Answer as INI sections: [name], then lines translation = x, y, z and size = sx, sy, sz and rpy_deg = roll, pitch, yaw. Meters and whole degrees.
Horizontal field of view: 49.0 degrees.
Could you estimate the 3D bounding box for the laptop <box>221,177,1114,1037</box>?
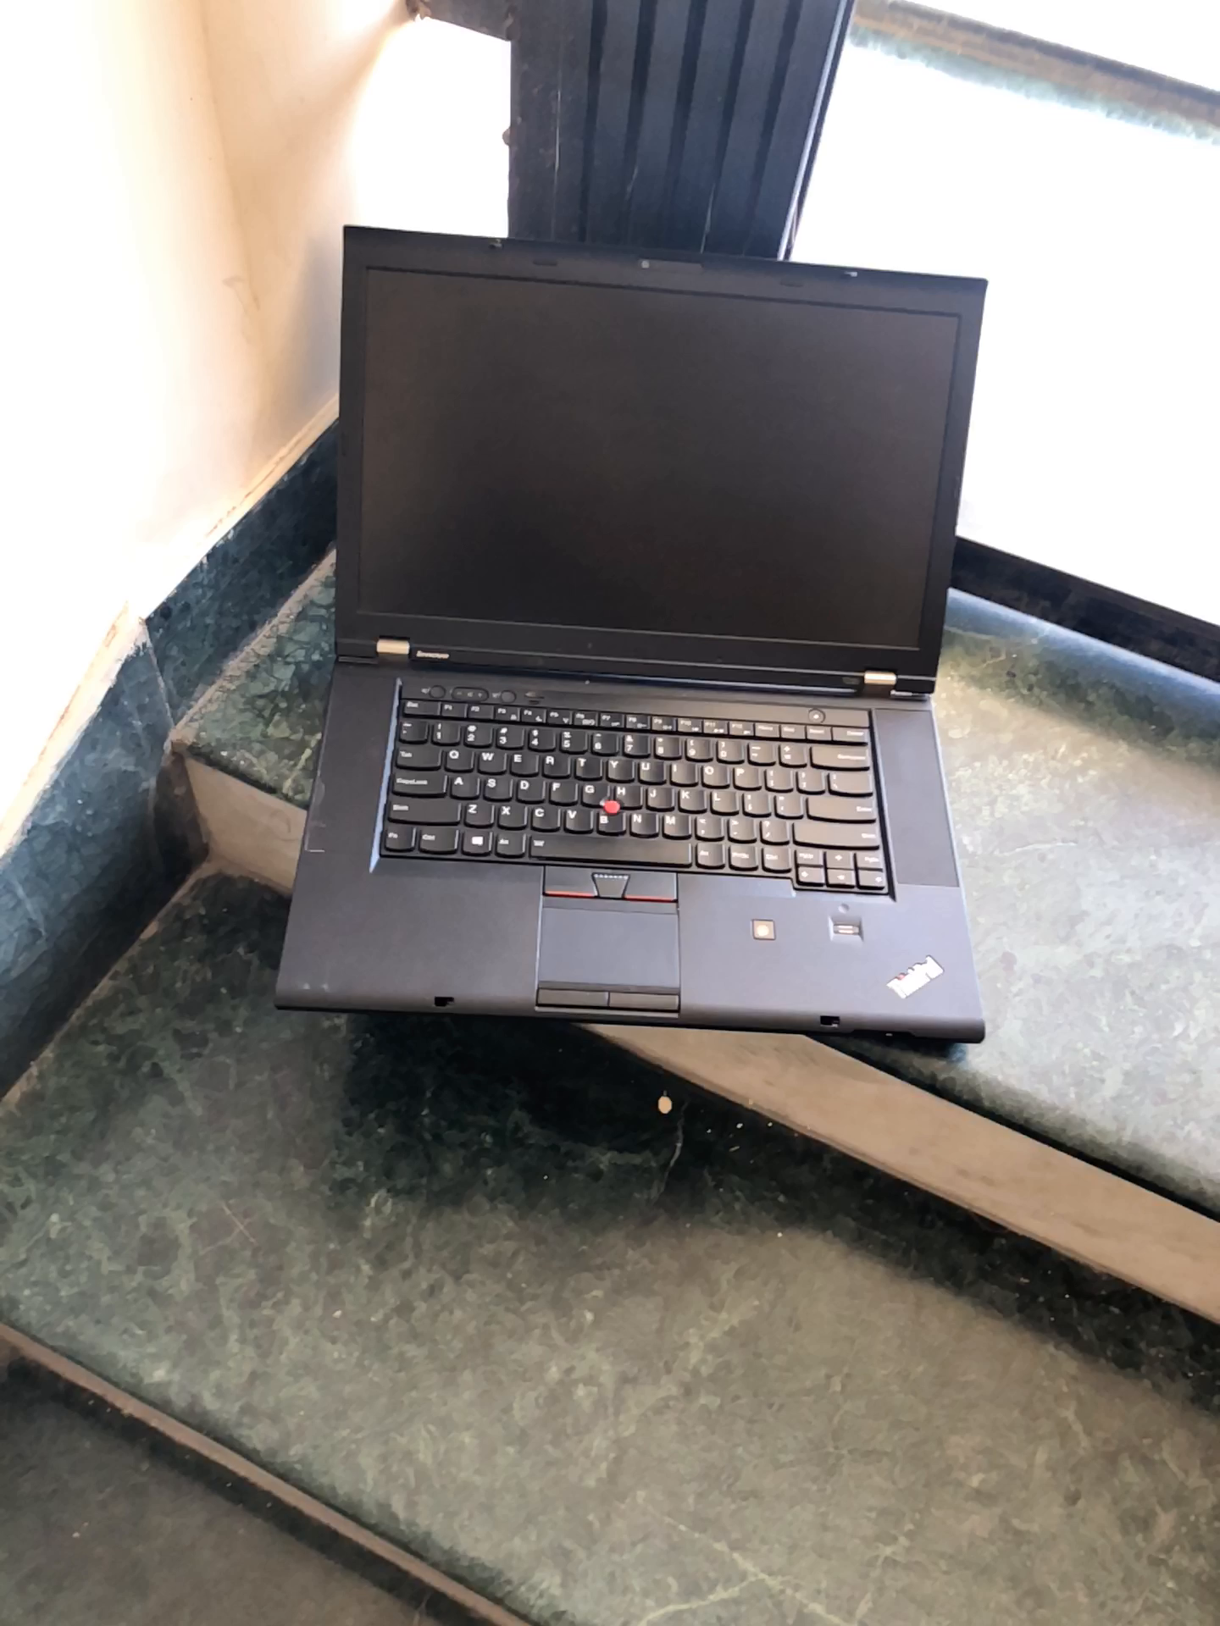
[laptop]
translation = 0.022, -0.117, 0.709
size = 0.359, 0.181, 0.389
rpy_deg = 3, 56, -3
